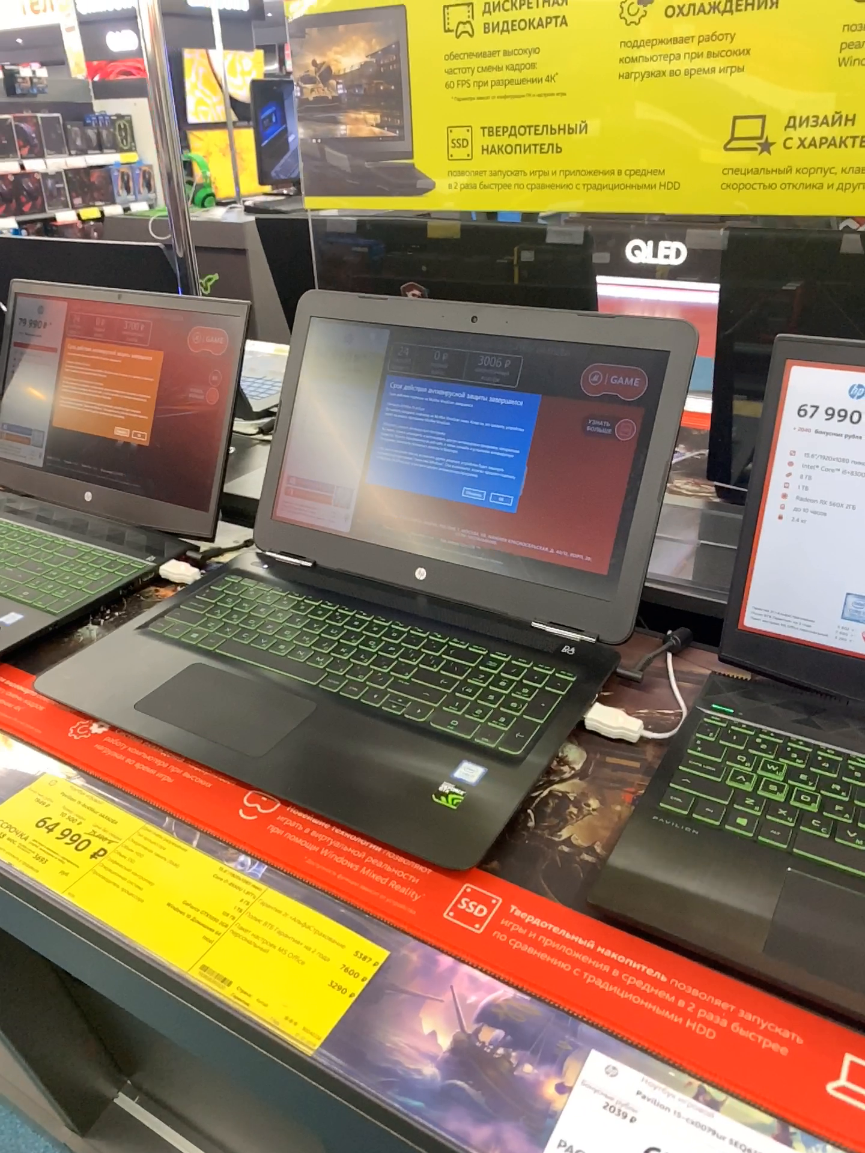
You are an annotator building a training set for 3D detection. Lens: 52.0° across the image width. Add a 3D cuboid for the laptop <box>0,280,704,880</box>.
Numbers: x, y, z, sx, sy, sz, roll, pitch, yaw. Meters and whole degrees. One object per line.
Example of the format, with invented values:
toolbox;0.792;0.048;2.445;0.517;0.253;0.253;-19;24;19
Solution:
laptop;-0.051;-0.059;0.671;0.385;0.223;0.380;14;33;28
